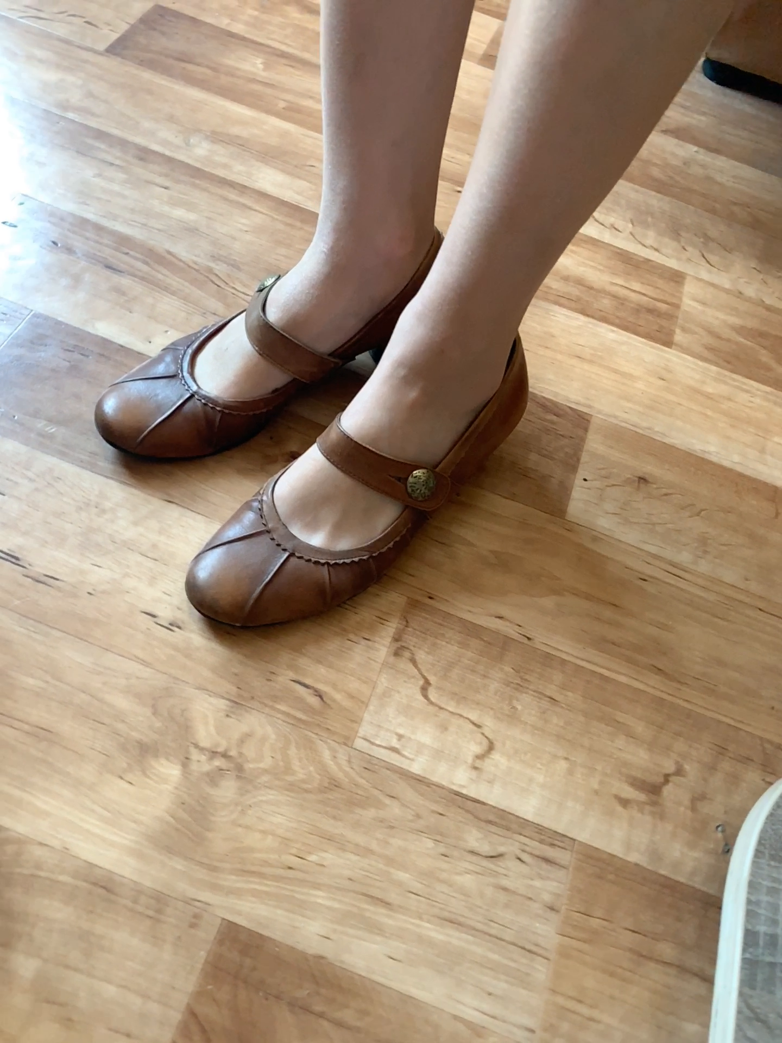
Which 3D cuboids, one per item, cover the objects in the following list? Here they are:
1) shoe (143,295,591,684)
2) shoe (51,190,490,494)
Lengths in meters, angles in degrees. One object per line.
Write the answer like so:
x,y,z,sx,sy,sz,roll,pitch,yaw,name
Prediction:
-0.008,-0.027,0.476,0.250,0.090,0.090,-34,71,-27,shoe
-0.071,-0.123,0.522,0.250,0.090,0.090,-25,67,-24,shoe
